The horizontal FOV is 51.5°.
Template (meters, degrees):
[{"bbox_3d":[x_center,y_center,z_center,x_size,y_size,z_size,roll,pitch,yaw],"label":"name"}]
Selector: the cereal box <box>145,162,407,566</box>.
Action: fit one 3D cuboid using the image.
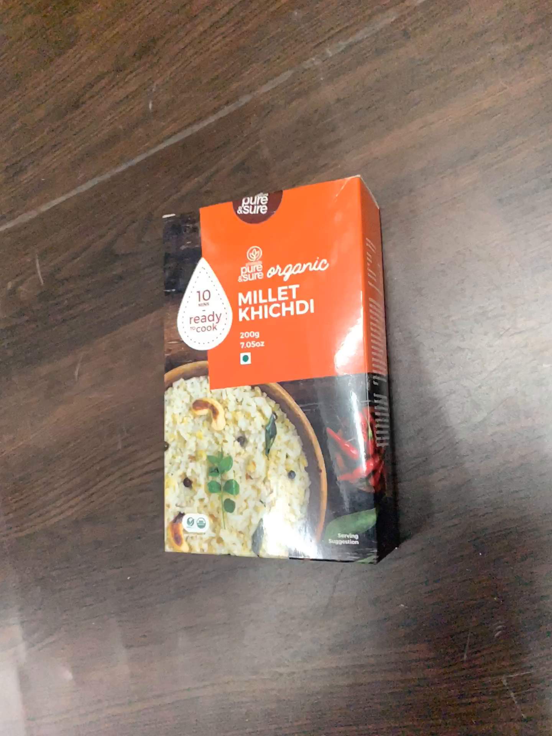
[{"bbox_3d":[-0.003,0.001,0.266,0.110,0.040,0.160,-5,82,24],"label":"cereal box"}]
